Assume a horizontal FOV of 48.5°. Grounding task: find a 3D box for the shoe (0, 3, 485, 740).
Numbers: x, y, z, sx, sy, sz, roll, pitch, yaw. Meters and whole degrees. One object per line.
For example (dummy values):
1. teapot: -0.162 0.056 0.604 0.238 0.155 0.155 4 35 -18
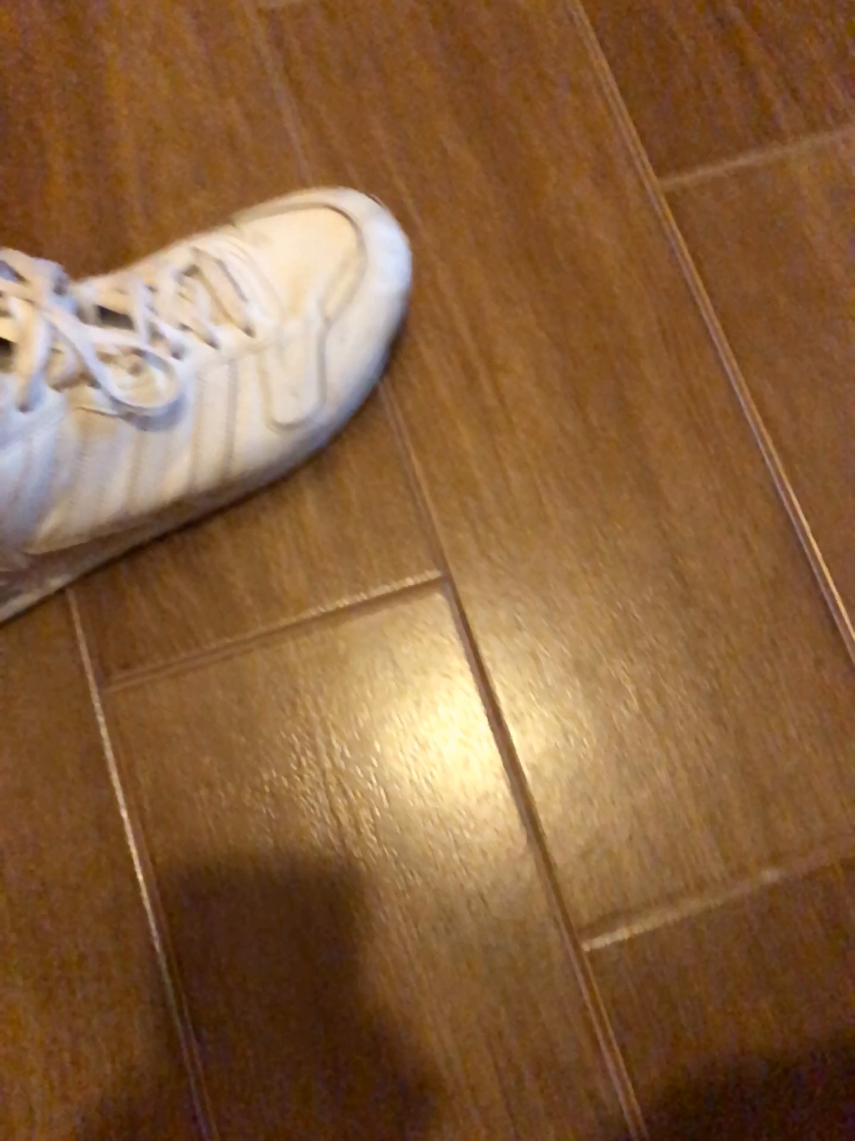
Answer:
1. shoe: -0.143 -0.072 0.387 0.310 0.120 0.120 -32 79 -9
